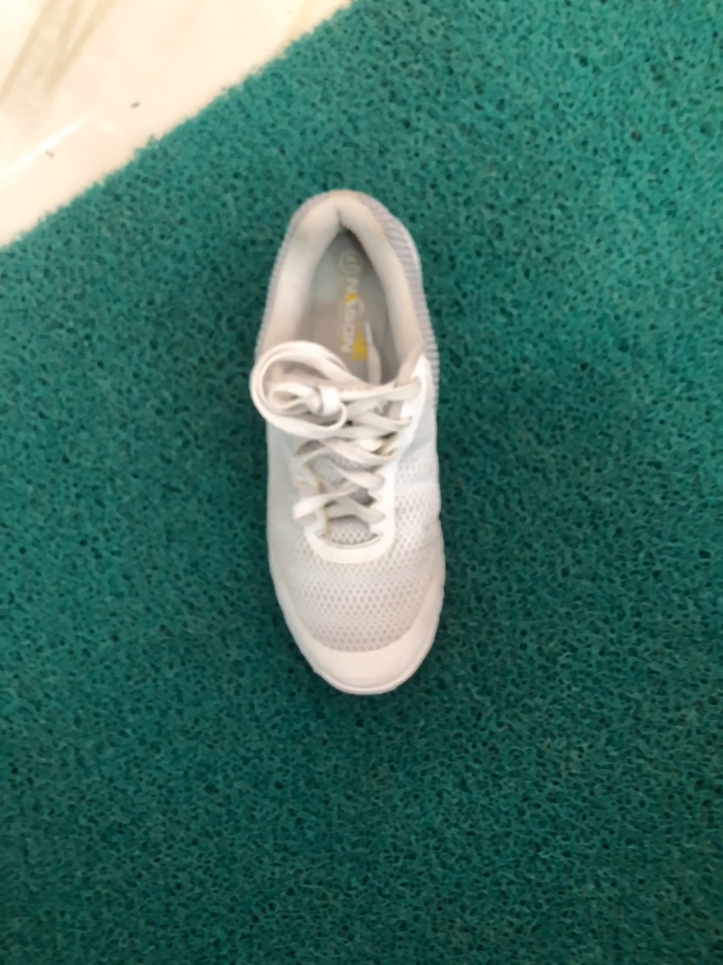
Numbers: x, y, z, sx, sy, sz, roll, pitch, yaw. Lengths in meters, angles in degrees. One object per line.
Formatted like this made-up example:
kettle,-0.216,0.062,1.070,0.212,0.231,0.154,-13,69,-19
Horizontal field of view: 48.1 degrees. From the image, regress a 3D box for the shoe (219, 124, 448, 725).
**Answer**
shoe,-0.008,-0.029,0.445,0.100,0.100,0.290,1,87,8
